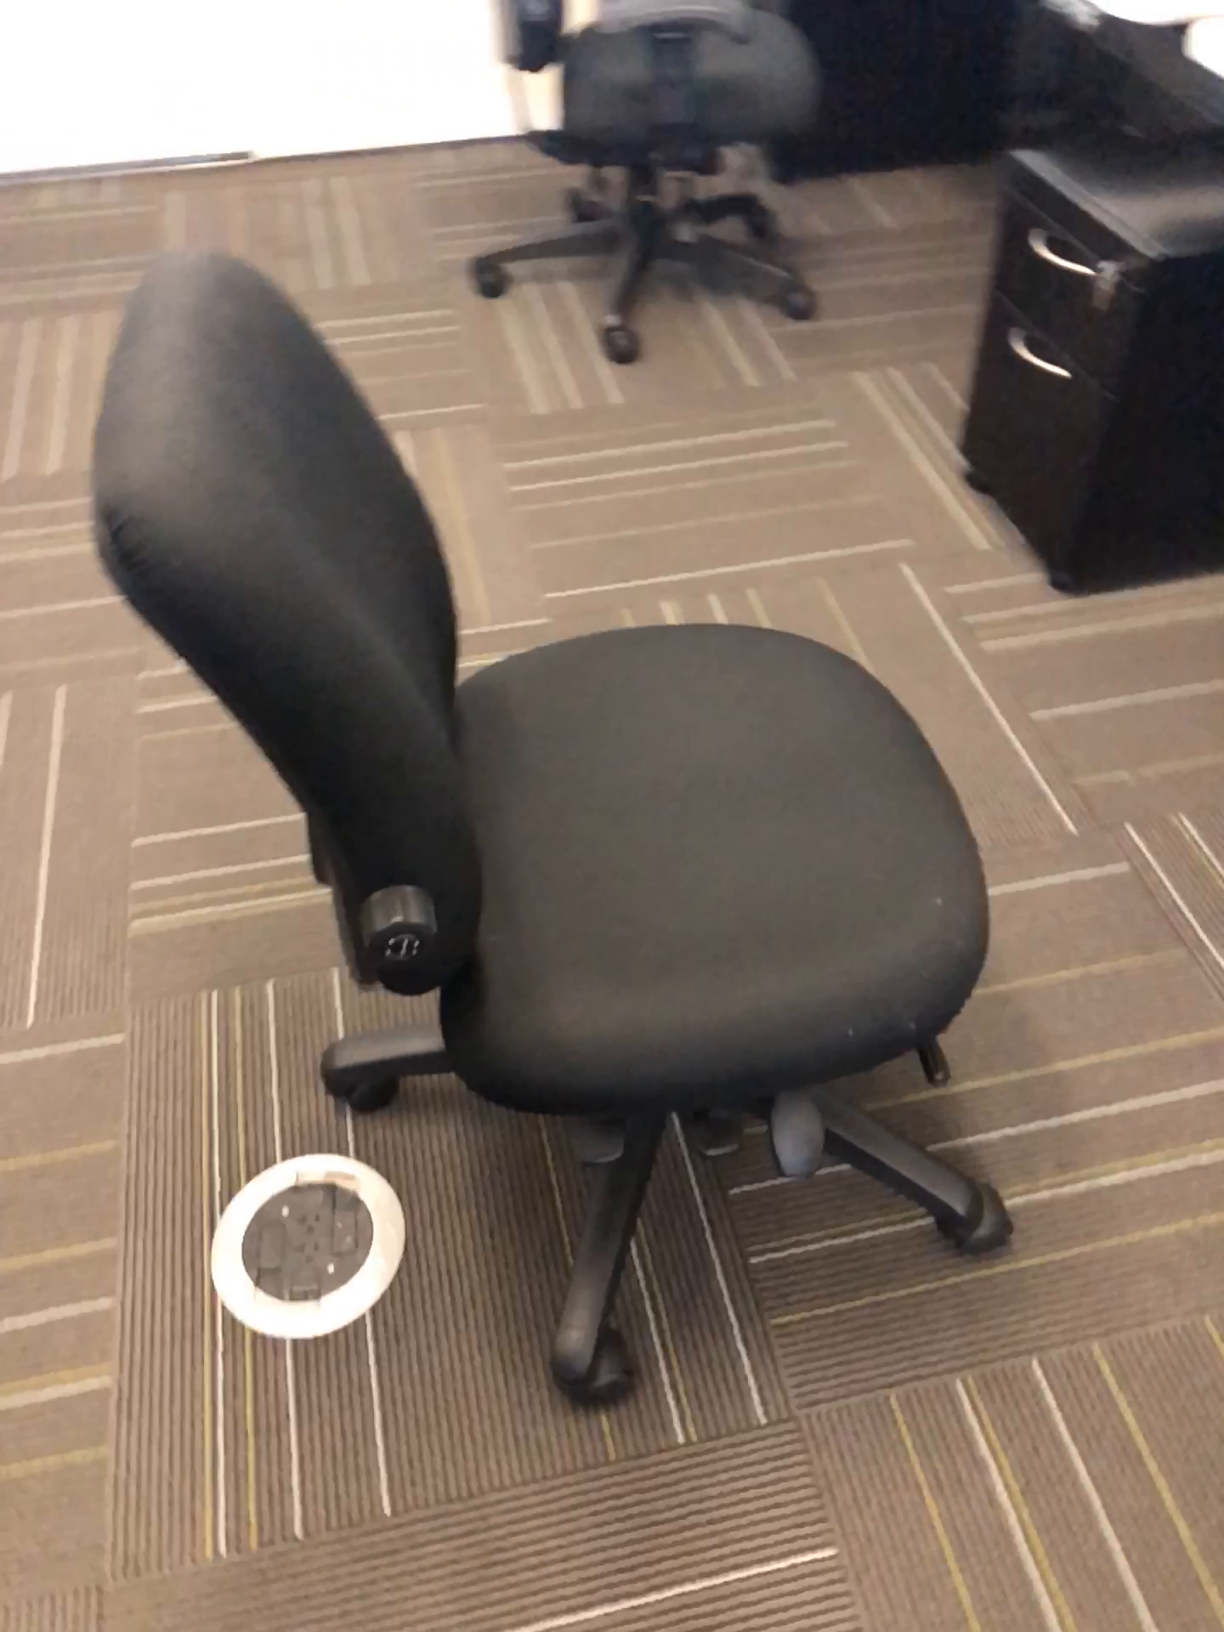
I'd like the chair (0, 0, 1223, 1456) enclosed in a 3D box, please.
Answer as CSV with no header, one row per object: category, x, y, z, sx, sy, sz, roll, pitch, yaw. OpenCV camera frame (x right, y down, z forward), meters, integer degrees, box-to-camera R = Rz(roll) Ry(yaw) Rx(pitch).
chair,0.017,-0.086,1.164,0.760,0.846,0.773,-9,46,-8
